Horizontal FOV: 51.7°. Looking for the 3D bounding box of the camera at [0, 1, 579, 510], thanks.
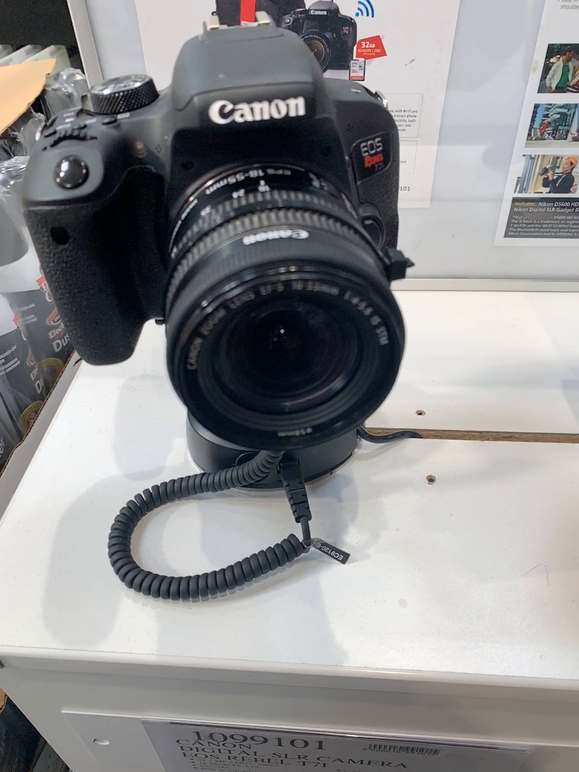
[{"bbox_3d":[-0.020,-0.047,0.177,0.134,0.089,0.121,-6,41,-3],"label":"camera"}]
